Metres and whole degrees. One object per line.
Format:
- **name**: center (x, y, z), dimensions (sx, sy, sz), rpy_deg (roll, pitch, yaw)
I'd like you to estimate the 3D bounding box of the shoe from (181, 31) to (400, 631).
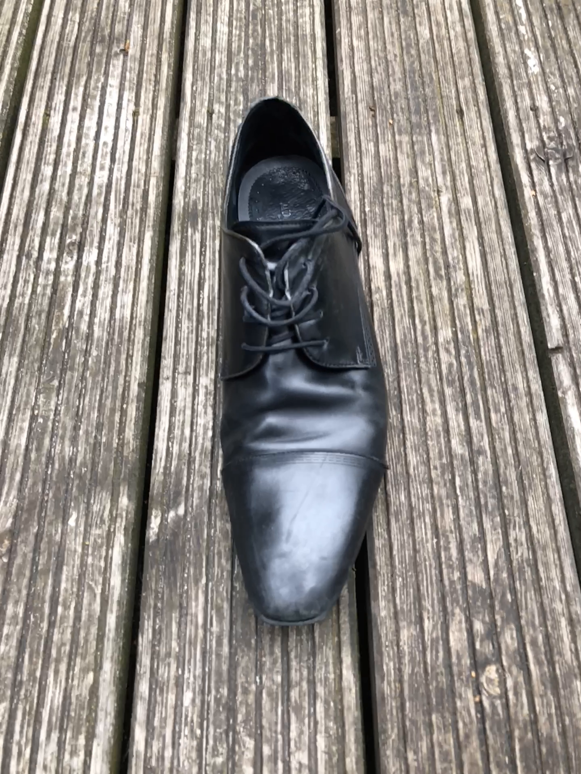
- **shoe**: center (-0.006, -0.036, 0.398), dimensions (0.090, 0.150, 0.341), rpy_deg (-3, 66, 0)
